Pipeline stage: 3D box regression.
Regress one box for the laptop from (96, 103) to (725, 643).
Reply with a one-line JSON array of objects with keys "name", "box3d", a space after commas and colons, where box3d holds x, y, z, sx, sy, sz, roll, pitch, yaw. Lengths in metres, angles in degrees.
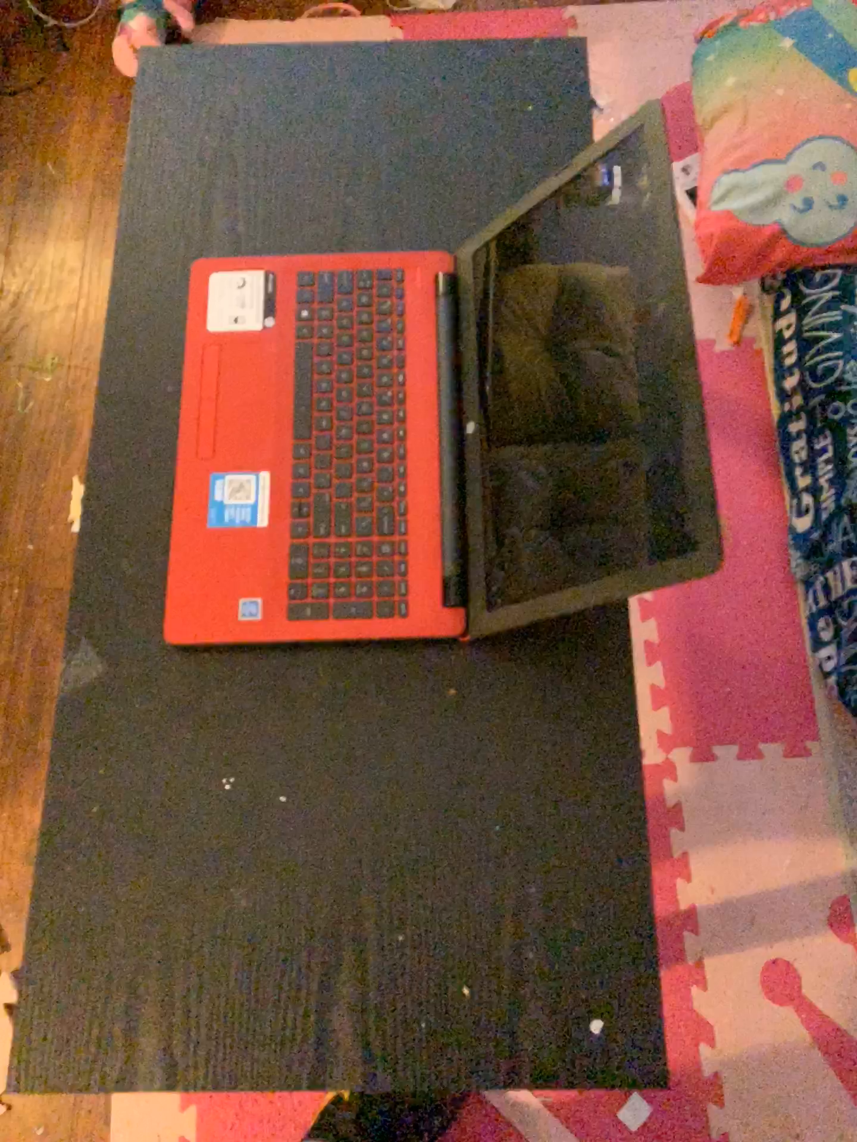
[{"name": "laptop", "box3d": [-0.019, -0.151, 0.700, 0.409, 0.170, 0.376, -2, 72, 1]}]
